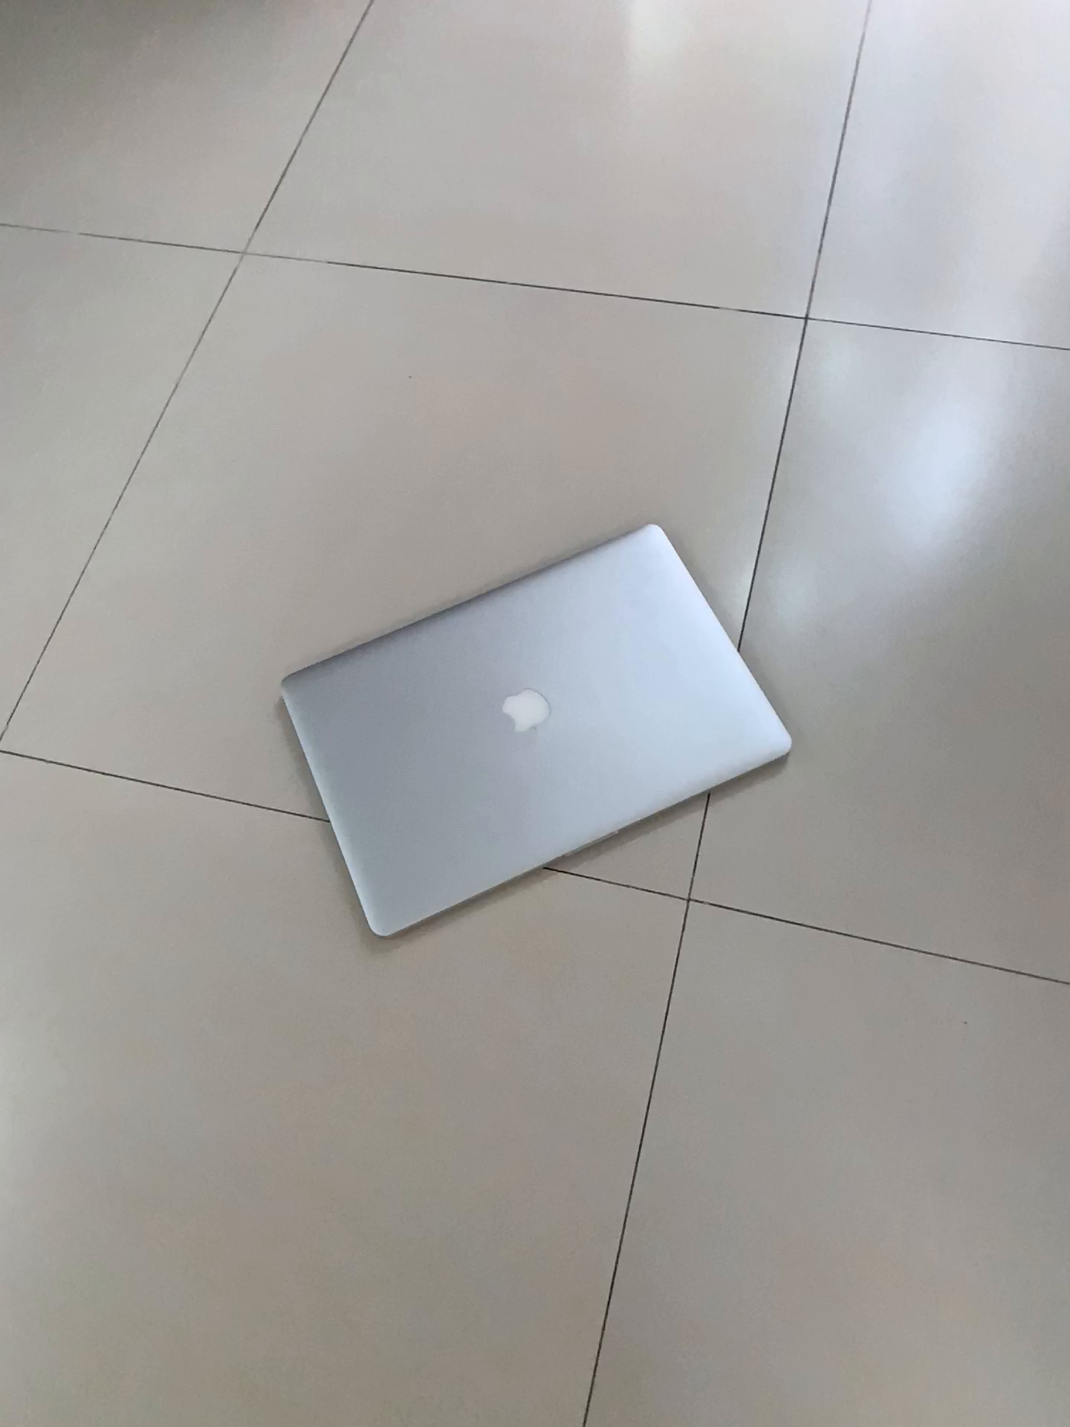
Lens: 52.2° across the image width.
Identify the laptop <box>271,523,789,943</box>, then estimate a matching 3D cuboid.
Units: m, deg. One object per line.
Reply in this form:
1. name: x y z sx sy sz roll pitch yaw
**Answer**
1. laptop: -0.012 0.002 0.888 0.356 0.001 0.239 -24 64 -6
